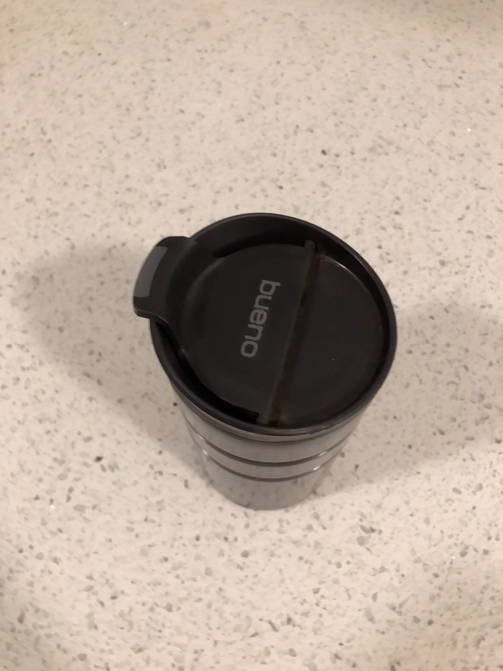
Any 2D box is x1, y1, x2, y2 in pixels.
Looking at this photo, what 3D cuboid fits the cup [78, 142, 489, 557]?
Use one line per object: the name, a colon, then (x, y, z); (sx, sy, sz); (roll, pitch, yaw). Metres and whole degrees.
cup: (0.009, 0.014, 0.217); (0.086, 0.116, 0.085); (0, 62, 1)
